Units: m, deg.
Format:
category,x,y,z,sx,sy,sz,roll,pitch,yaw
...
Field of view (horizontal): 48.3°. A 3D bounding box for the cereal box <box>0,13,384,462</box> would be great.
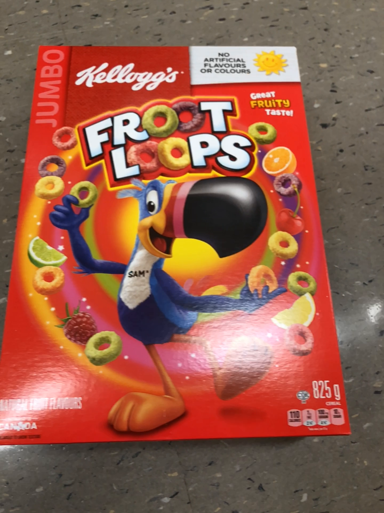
category,x,y,z,sx,sy,sz,roll,pitch,yaw
cereal box,-0.017,-0.037,0.358,0.270,0.080,0.360,-2,68,-2
